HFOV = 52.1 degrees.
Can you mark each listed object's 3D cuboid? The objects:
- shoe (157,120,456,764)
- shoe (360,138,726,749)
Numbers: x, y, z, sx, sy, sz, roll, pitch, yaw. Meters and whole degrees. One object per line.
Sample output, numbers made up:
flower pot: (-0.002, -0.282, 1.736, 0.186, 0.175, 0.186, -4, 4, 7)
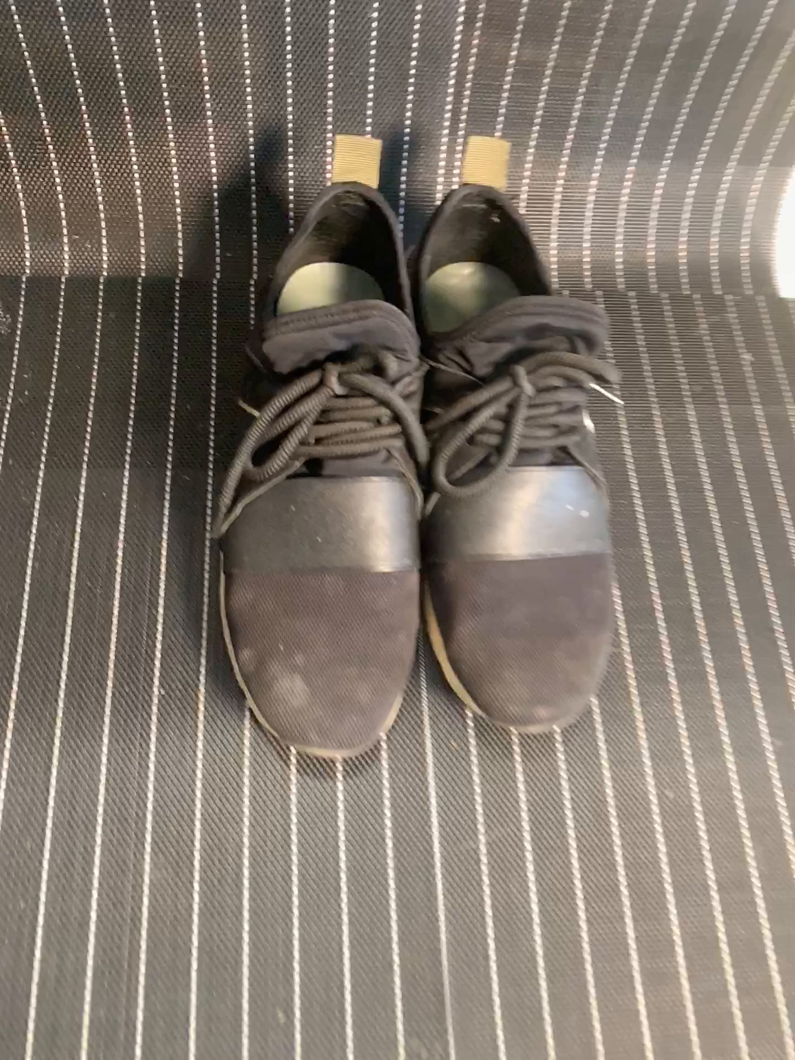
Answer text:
shoe: (-0.038, -0.045, 0.365, 0.100, 0.080, 0.281, 1, 67, -6)
shoe: (0.051, -0.049, 0.393, 0.100, 0.090, 0.281, -5, 68, -9)
